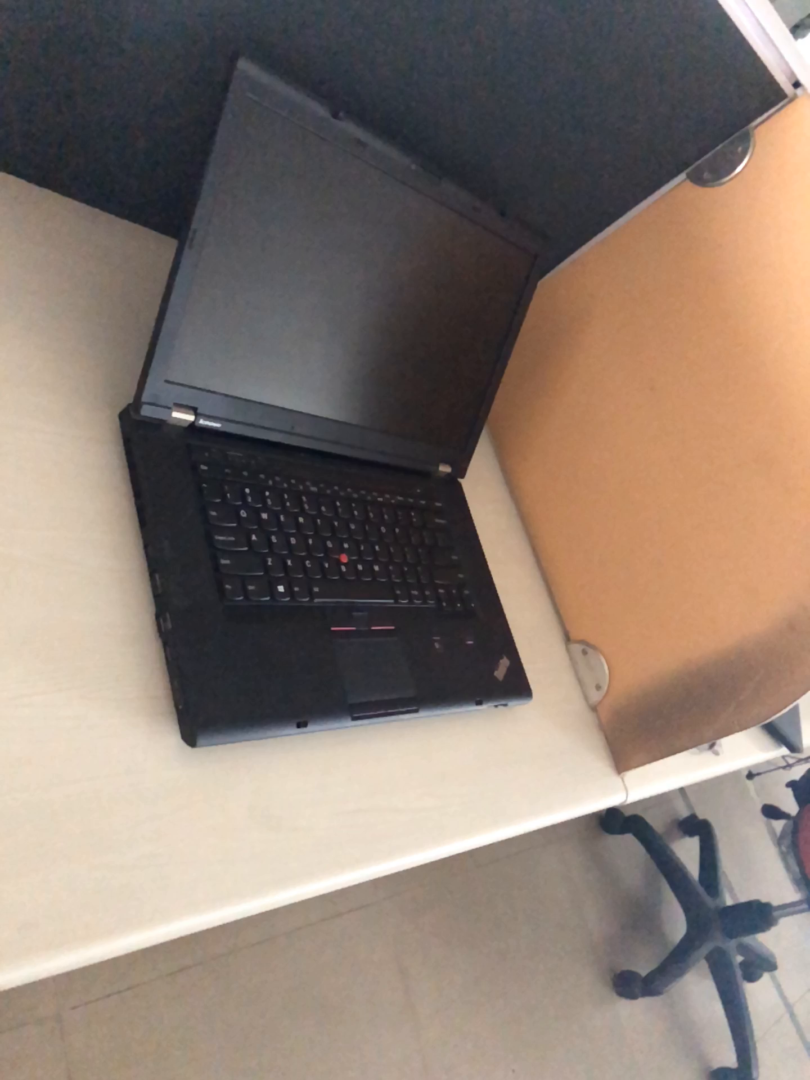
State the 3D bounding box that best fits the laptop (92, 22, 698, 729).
[{"bbox_3d":[0.002,-0.088,0.678,0.356,0.185,0.379,5,62,-50],"label":"laptop"}]
